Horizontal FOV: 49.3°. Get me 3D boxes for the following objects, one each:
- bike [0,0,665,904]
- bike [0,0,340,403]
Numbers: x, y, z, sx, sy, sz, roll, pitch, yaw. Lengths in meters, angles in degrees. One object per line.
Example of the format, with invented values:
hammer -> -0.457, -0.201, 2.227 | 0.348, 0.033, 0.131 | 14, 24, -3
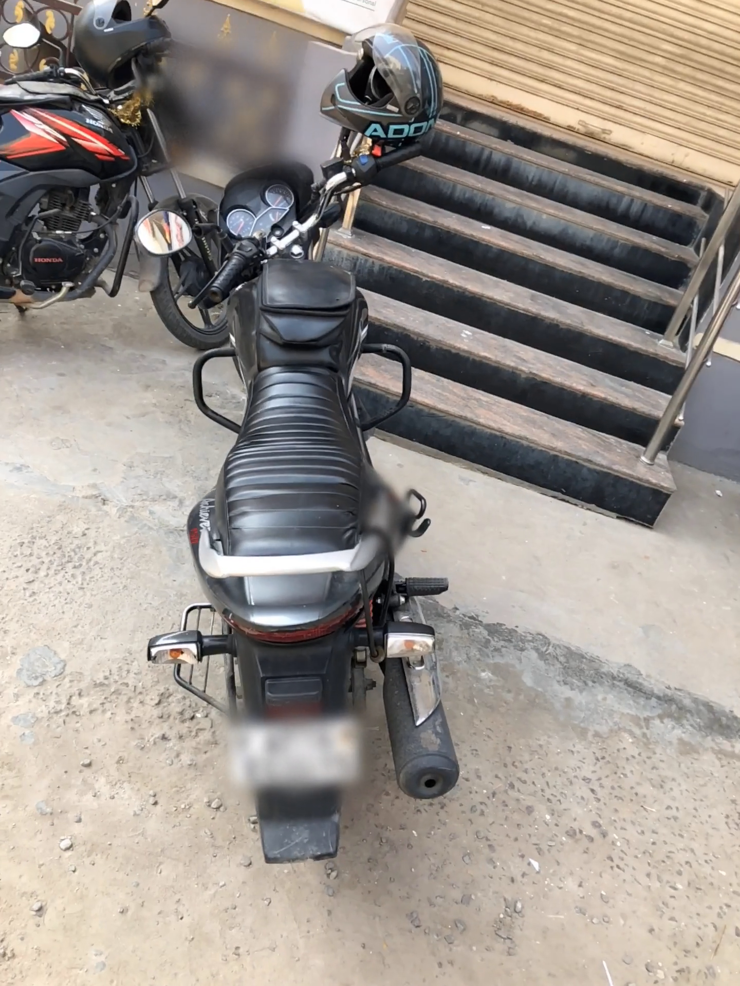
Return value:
bike -> -0.344, -0.309, 1.826 | 0.747, 1.156, 1.744 | 8, 34, -19
bike -> -1.049, -0.977, 2.659 | 1.605, 1.056, 0.684 | -12, 41, -45
